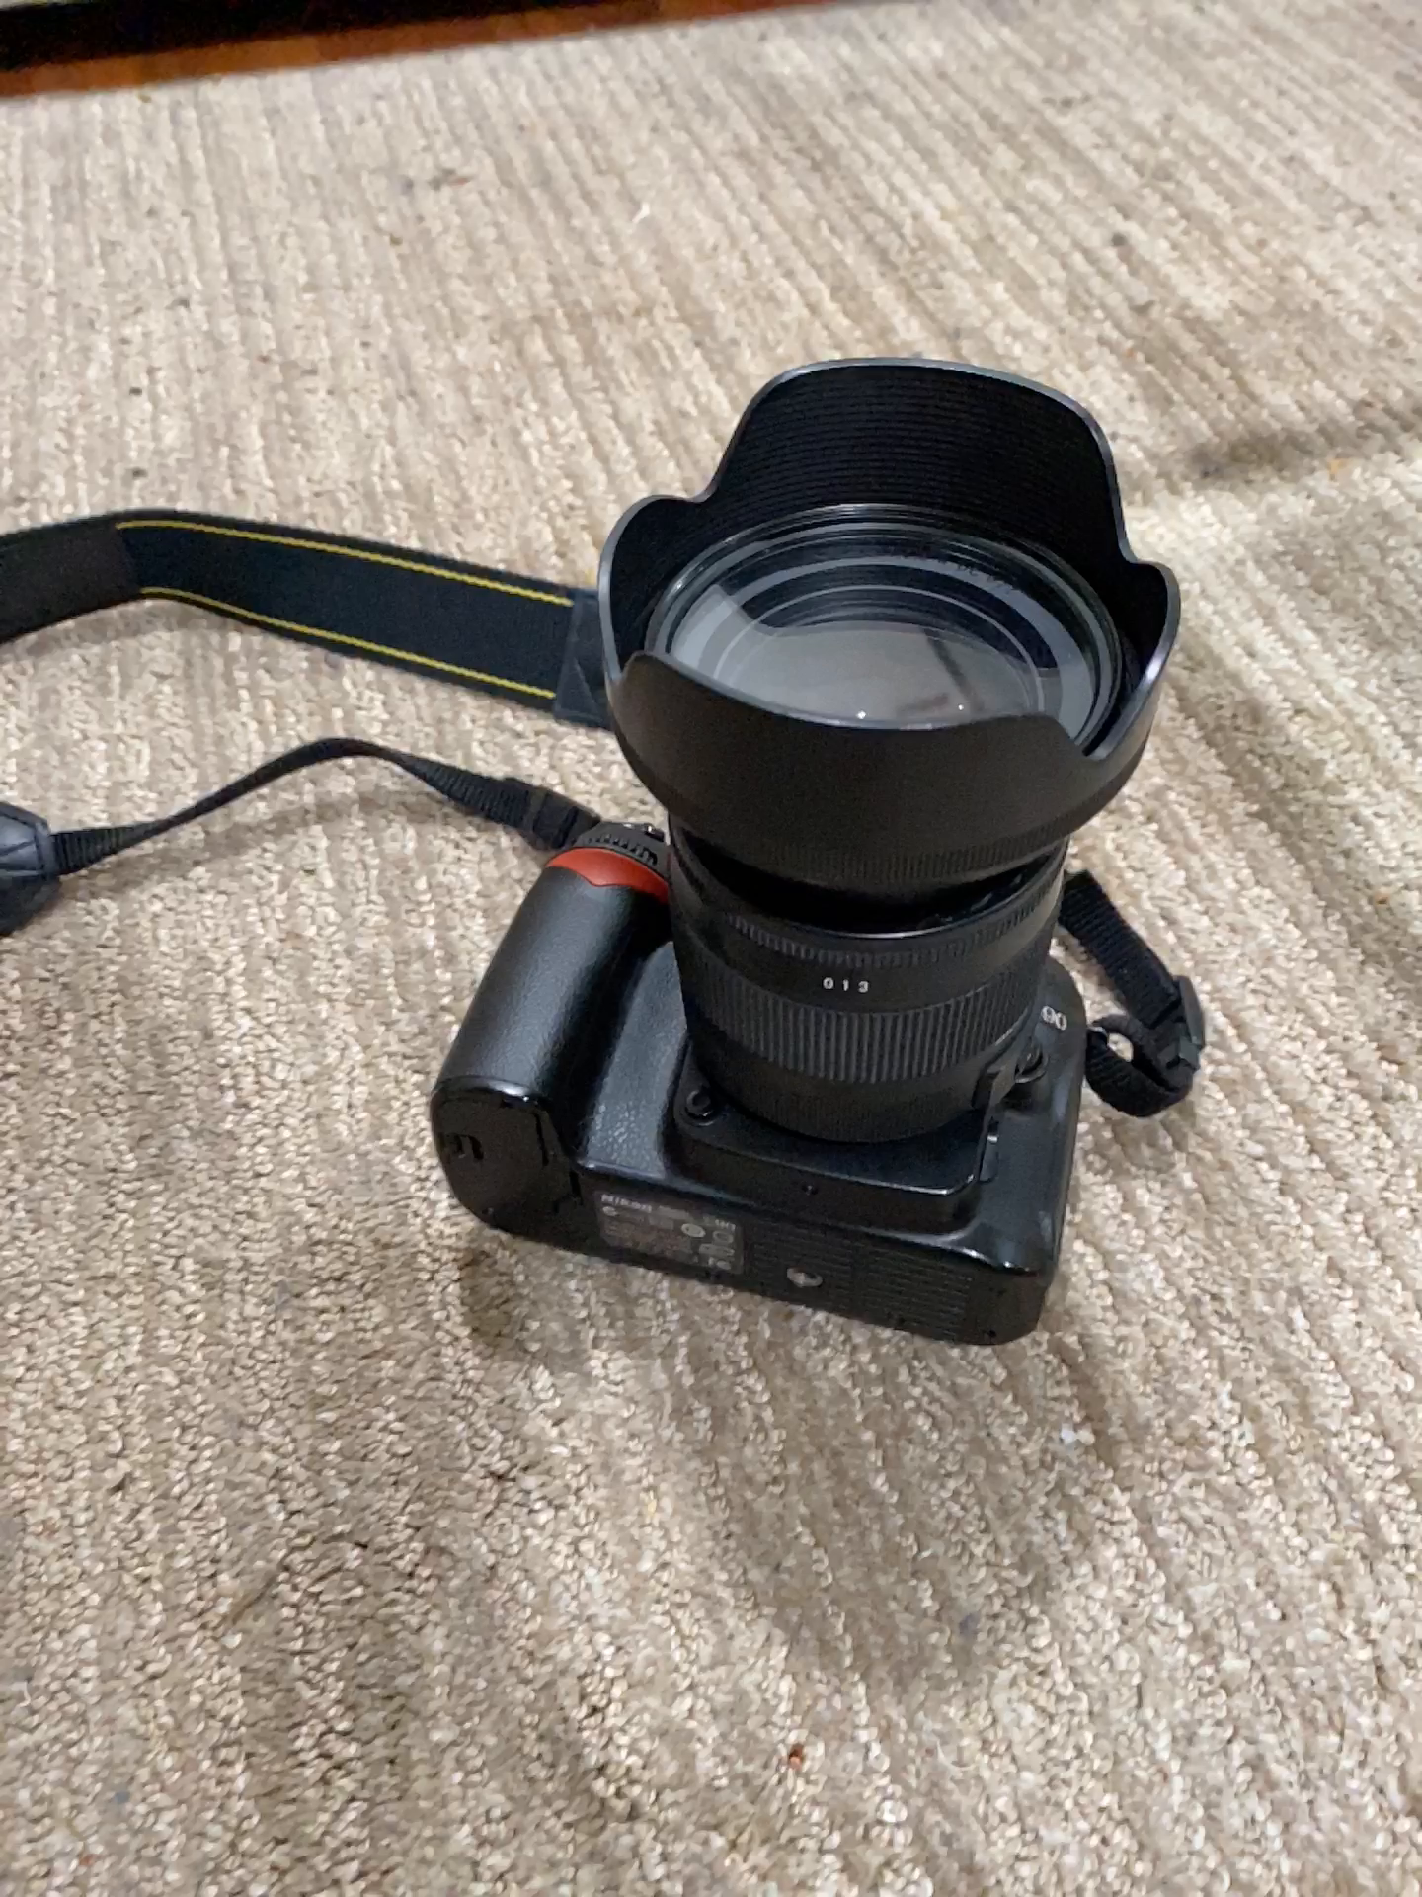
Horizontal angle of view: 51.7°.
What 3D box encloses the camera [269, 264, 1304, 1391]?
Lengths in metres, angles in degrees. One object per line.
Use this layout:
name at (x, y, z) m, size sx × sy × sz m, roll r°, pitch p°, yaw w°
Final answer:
camera at (0.019, -0.018, 0.289) m, size 0.138 × 0.165 × 0.115 m, roll 12°, pitch 50°, yaw 9°
